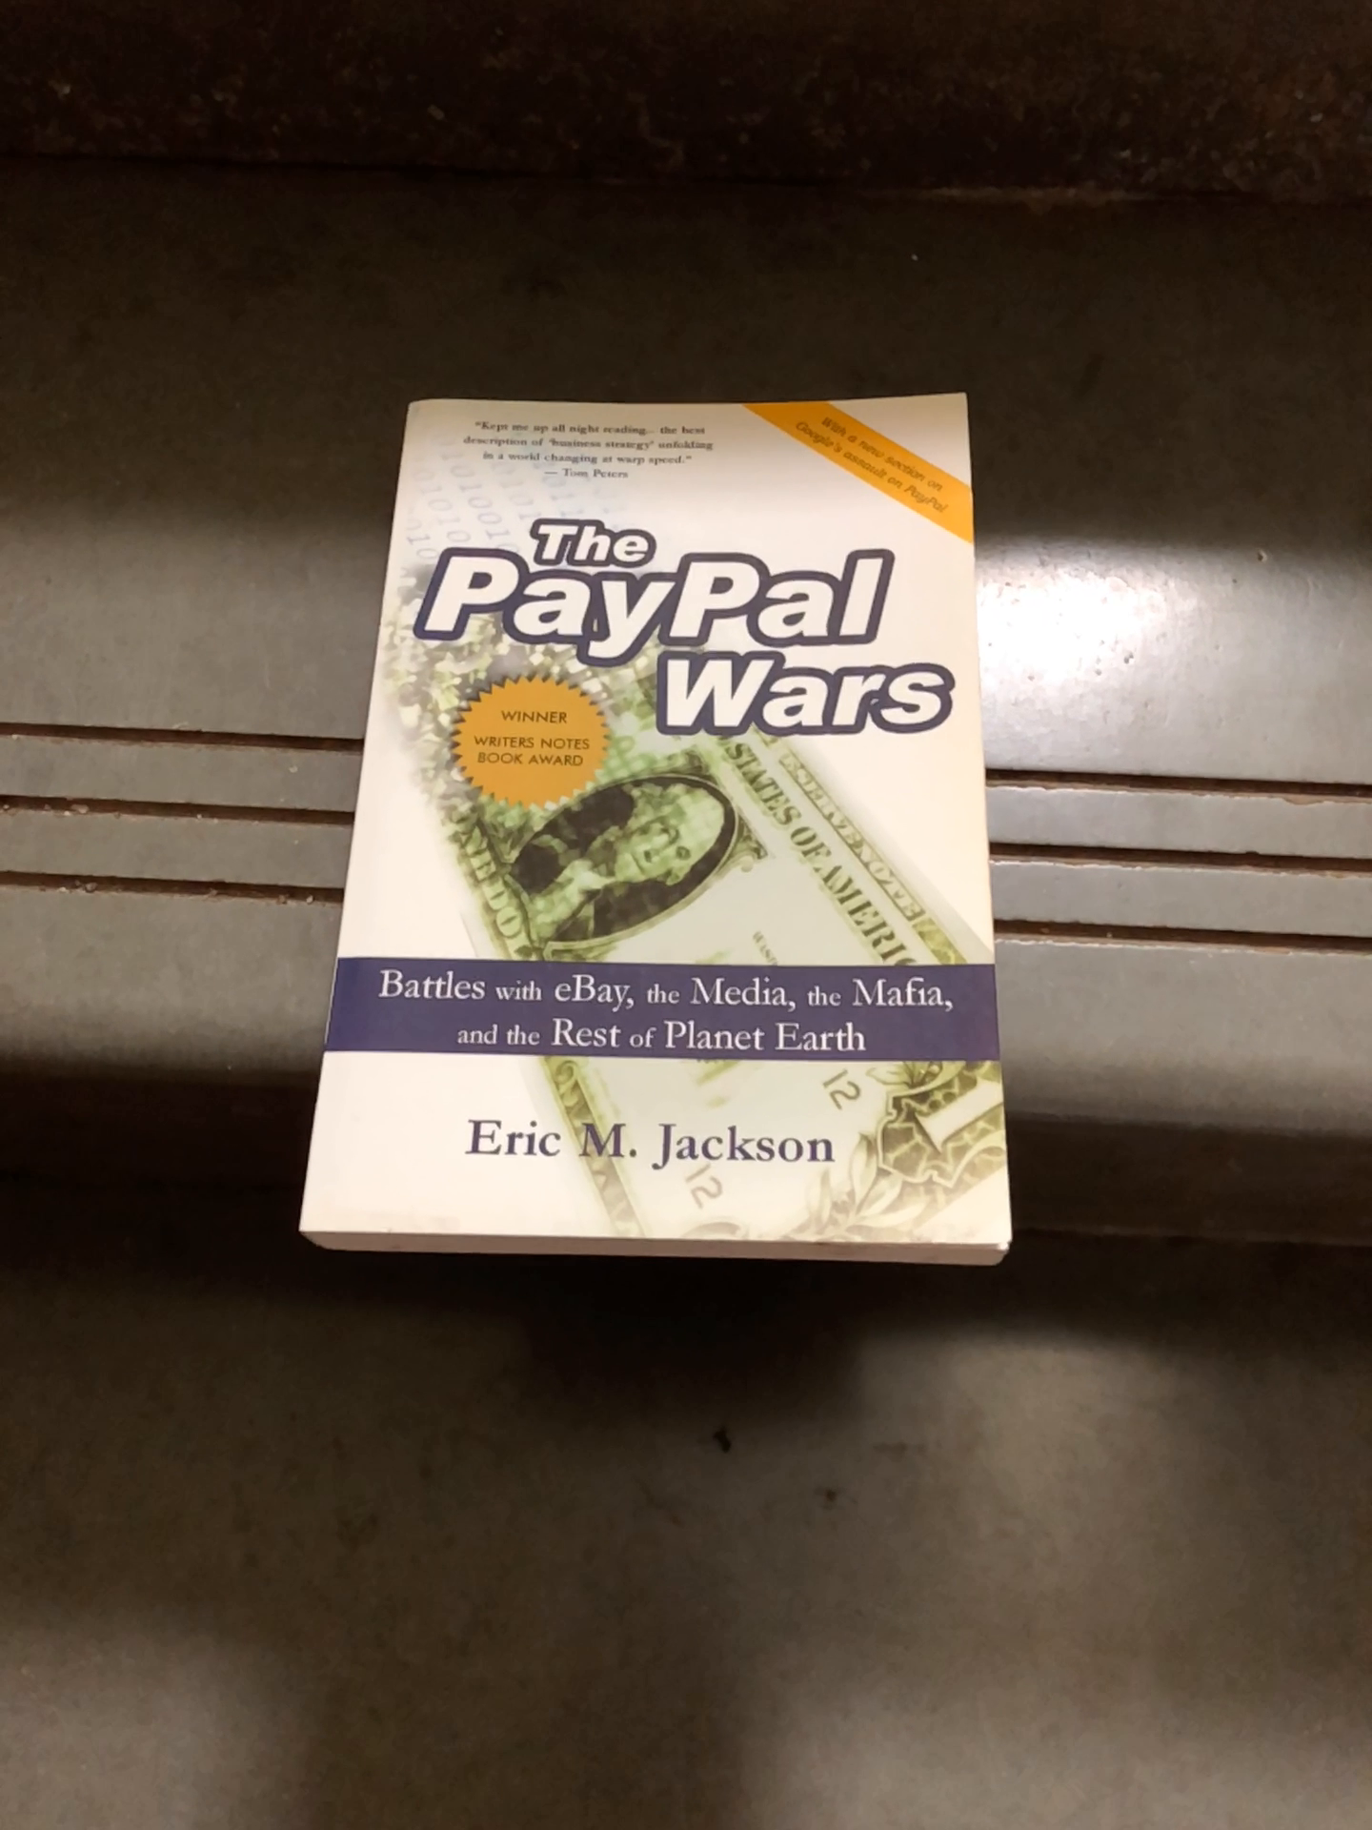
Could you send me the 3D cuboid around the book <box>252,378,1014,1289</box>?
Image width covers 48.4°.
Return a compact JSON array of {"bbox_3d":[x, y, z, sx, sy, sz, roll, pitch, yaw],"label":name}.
[{"bbox_3d":[-0.008,-0.028,0.357,0.150,0.030,0.220,1,67,2],"label":"book"}]
